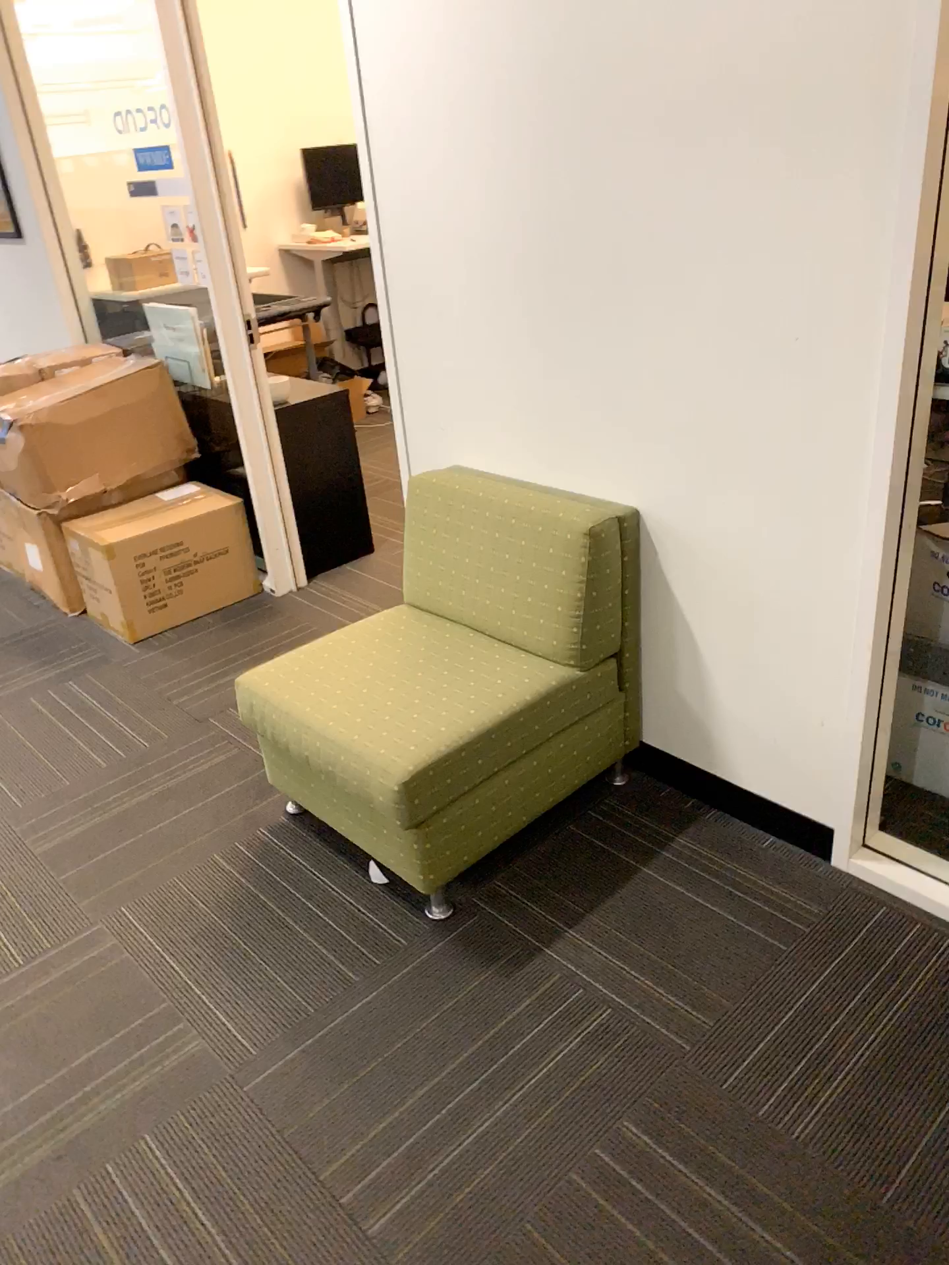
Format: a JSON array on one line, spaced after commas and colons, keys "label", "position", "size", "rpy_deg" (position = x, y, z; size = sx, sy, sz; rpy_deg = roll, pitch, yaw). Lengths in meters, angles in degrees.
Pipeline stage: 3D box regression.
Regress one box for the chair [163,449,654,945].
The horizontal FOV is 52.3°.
[{"label": "chair", "position": [-0.121, 0.071, 2.254], "size": [0.781, 0.686, 0.733], "rpy_deg": [-28, 35, -35]}]
